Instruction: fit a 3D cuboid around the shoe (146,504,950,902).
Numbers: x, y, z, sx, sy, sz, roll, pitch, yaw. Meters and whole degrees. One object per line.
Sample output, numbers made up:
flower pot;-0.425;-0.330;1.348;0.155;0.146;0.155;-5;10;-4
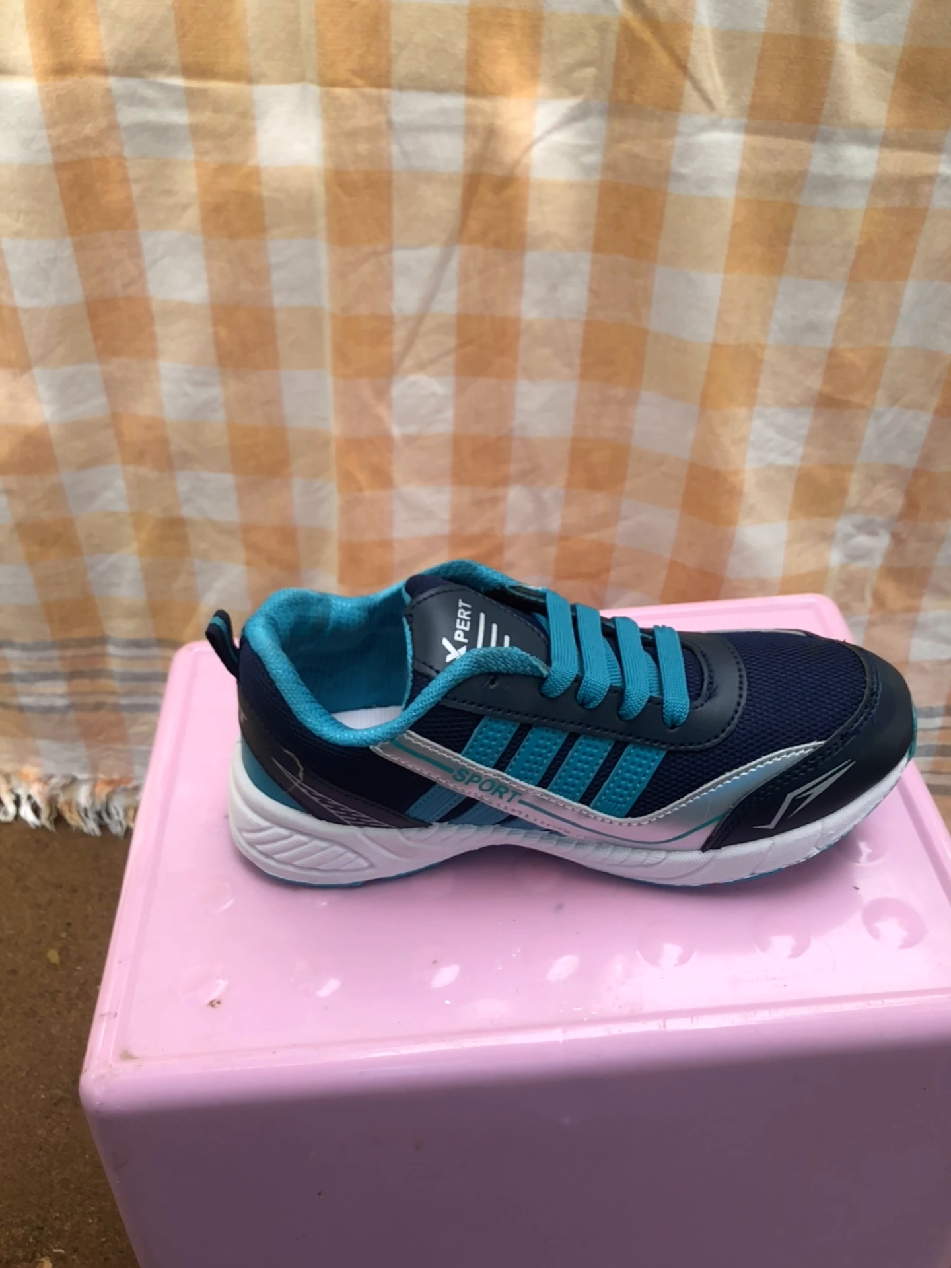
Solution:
shoe;0.029;0.026;0.418;0.270;0.109;0.111;0;41;-1
